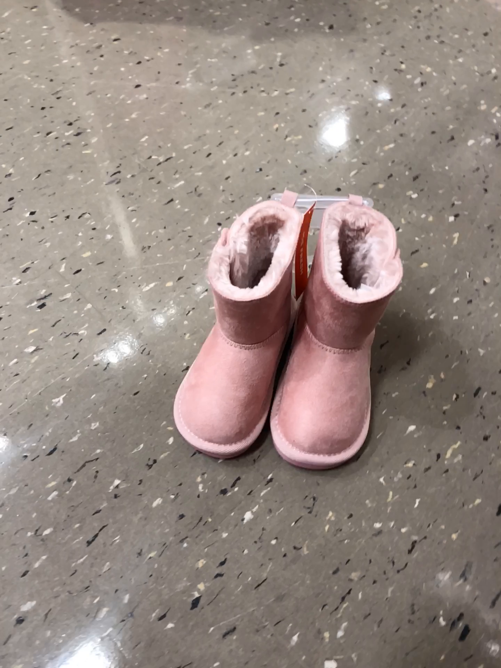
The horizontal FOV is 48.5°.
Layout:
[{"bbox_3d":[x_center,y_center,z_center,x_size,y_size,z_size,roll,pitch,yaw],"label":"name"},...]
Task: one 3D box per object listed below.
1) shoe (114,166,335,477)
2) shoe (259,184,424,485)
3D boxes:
[{"bbox_3d":[-0.010,-0.005,0.417,0.090,0.150,0.160,16,59,10],"label":"shoe"},{"bbox_3d":[0.062,0.005,0.414,0.090,0.150,0.160,6,58,4],"label":"shoe"}]
